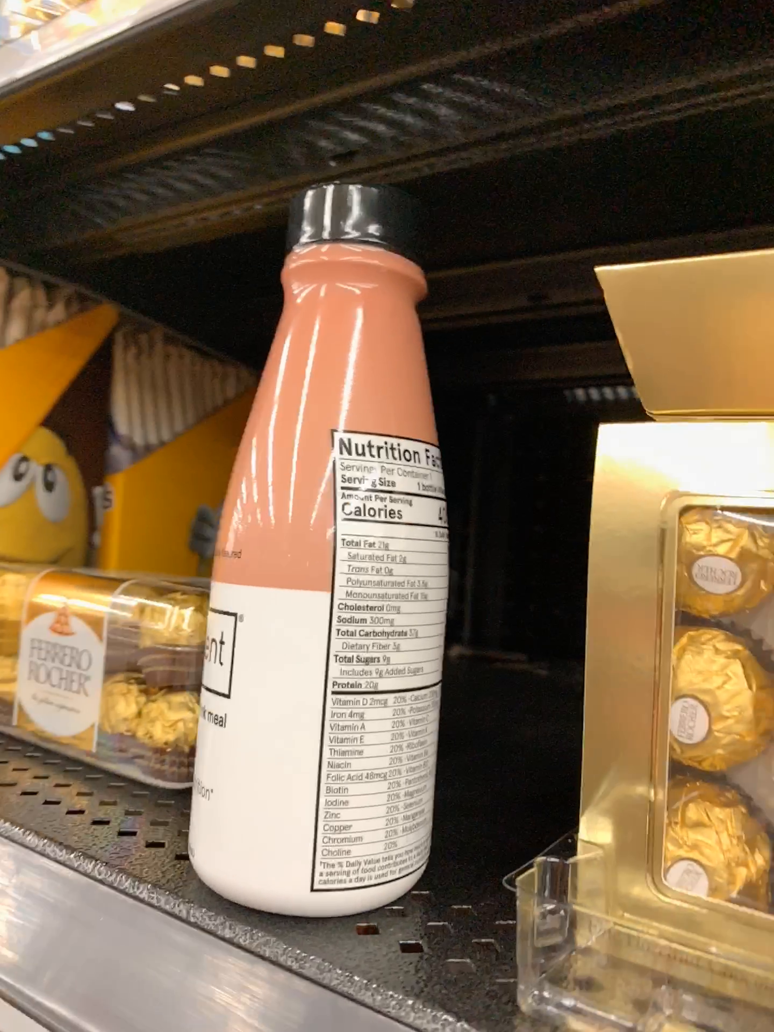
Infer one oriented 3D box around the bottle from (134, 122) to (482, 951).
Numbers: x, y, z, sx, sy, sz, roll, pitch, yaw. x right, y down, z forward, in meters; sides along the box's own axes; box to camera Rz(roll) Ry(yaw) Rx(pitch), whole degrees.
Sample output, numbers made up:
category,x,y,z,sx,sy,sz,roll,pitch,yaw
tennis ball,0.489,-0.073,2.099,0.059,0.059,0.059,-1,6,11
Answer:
category,x,y,z,sx,sy,sz,roll,pitch,yaw
bottle,-0.023,0.006,0.230,0.070,0.190,0.080,3,-1,-8
